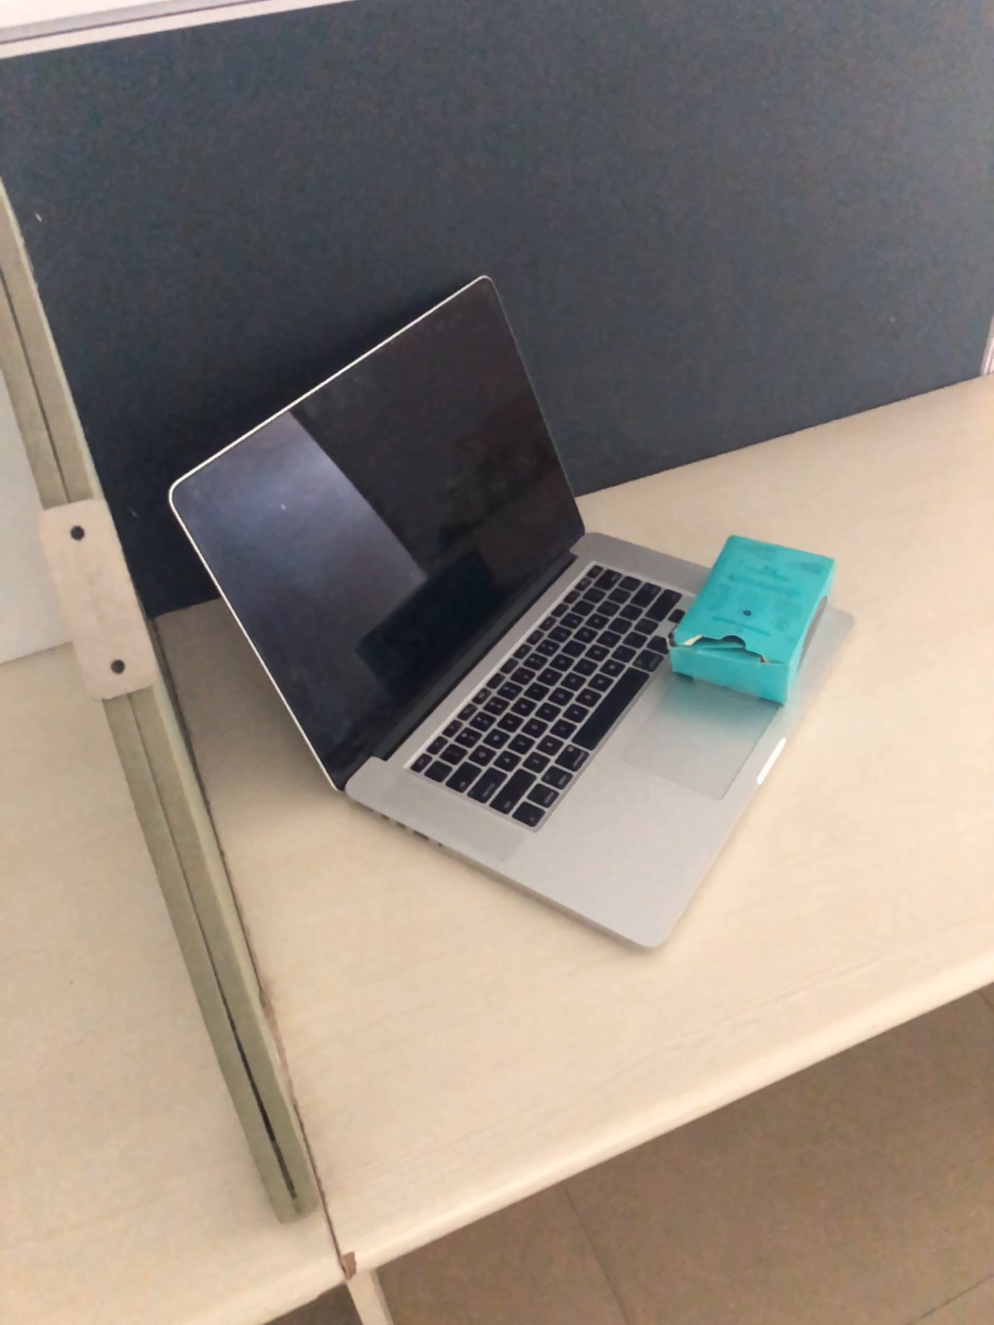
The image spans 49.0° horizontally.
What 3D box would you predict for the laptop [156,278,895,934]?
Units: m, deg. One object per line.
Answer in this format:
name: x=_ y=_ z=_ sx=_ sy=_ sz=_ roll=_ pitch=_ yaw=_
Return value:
laptop: x=0.034 y=-0.070 z=0.755 sx=0.339 sy=0.200 sz=0.330 roll=23 pitch=49 yaw=25
